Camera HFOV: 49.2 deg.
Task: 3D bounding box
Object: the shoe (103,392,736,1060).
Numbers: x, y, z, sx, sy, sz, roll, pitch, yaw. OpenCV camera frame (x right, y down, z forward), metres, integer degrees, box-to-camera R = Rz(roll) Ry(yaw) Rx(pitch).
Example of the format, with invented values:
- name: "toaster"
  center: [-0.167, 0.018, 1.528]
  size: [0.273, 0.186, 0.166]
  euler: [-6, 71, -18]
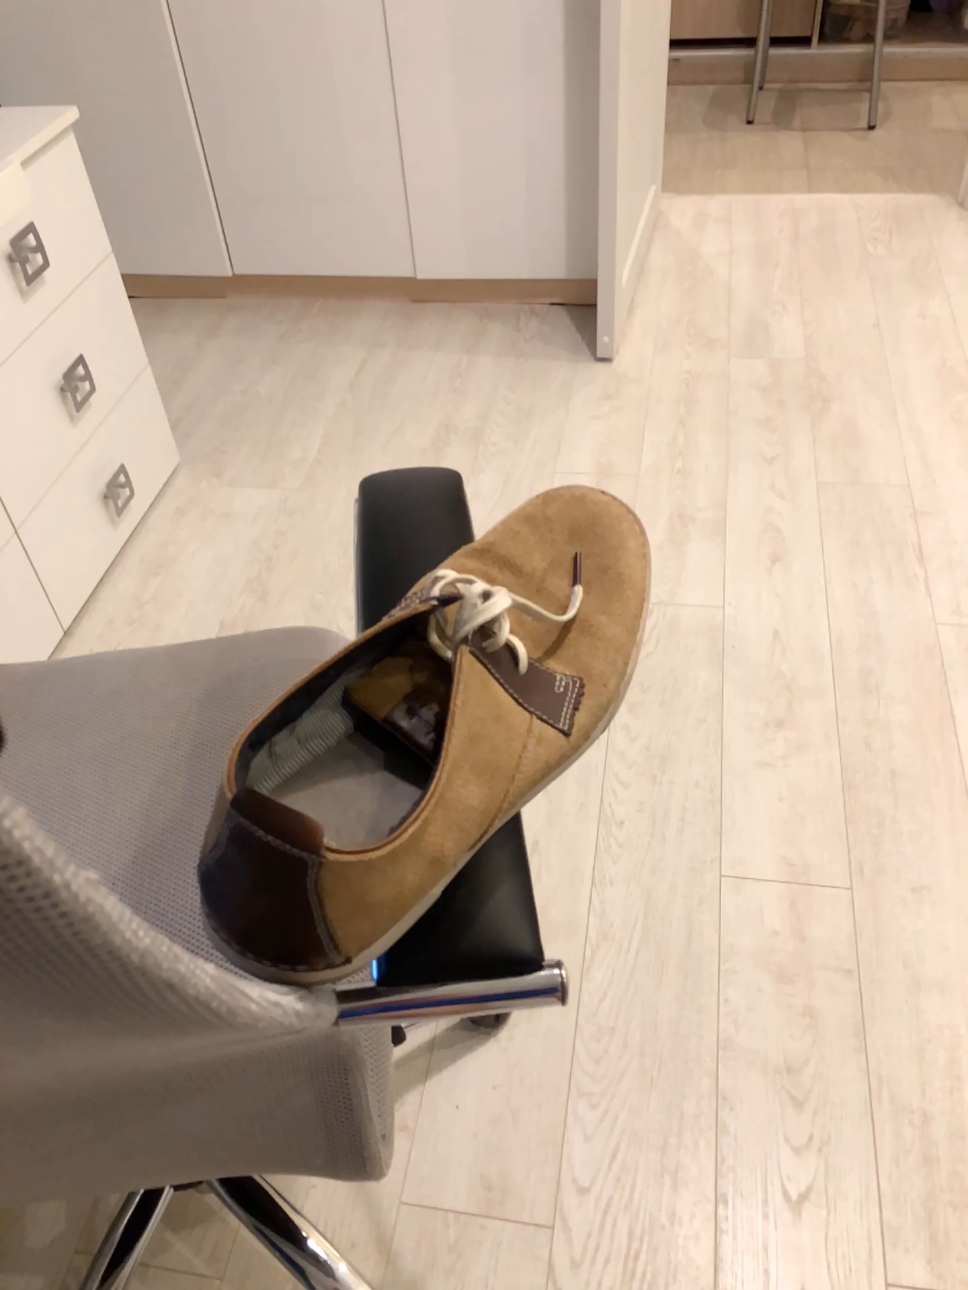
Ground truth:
- name: "shoe"
  center: [-0.004, 0.008, 0.476]
  size: [0.120, 0.079, 0.311]
  euler: [20, 49, 24]
